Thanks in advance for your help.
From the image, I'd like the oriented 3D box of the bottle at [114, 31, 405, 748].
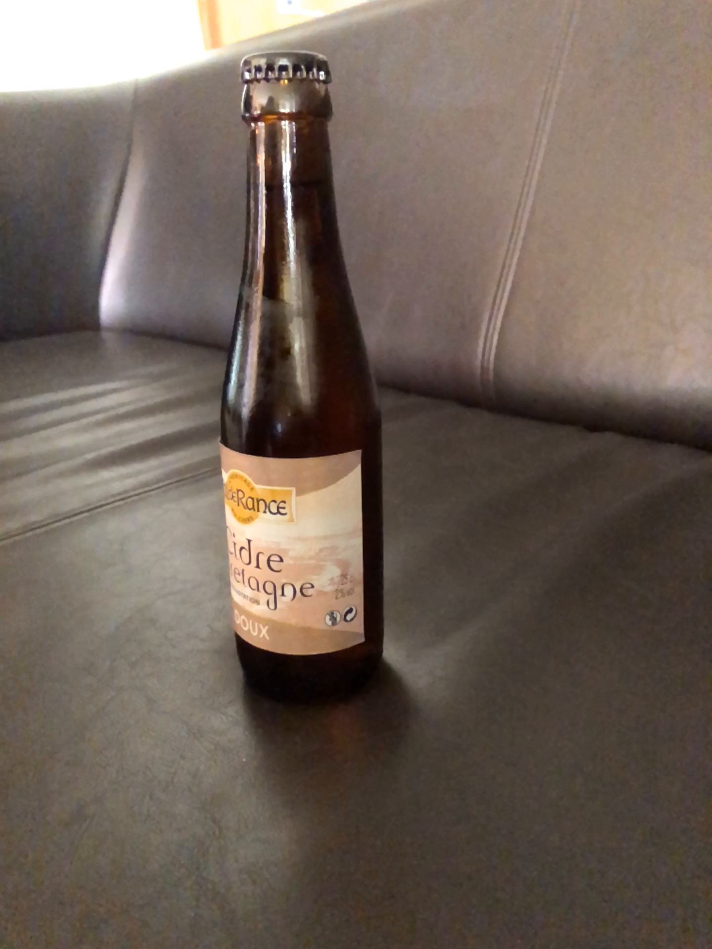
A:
[{"bbox_3d":[-0.028,-0.024,0.267,0.060,0.209,0.060,-2,17,1],"label":"bottle"}]
